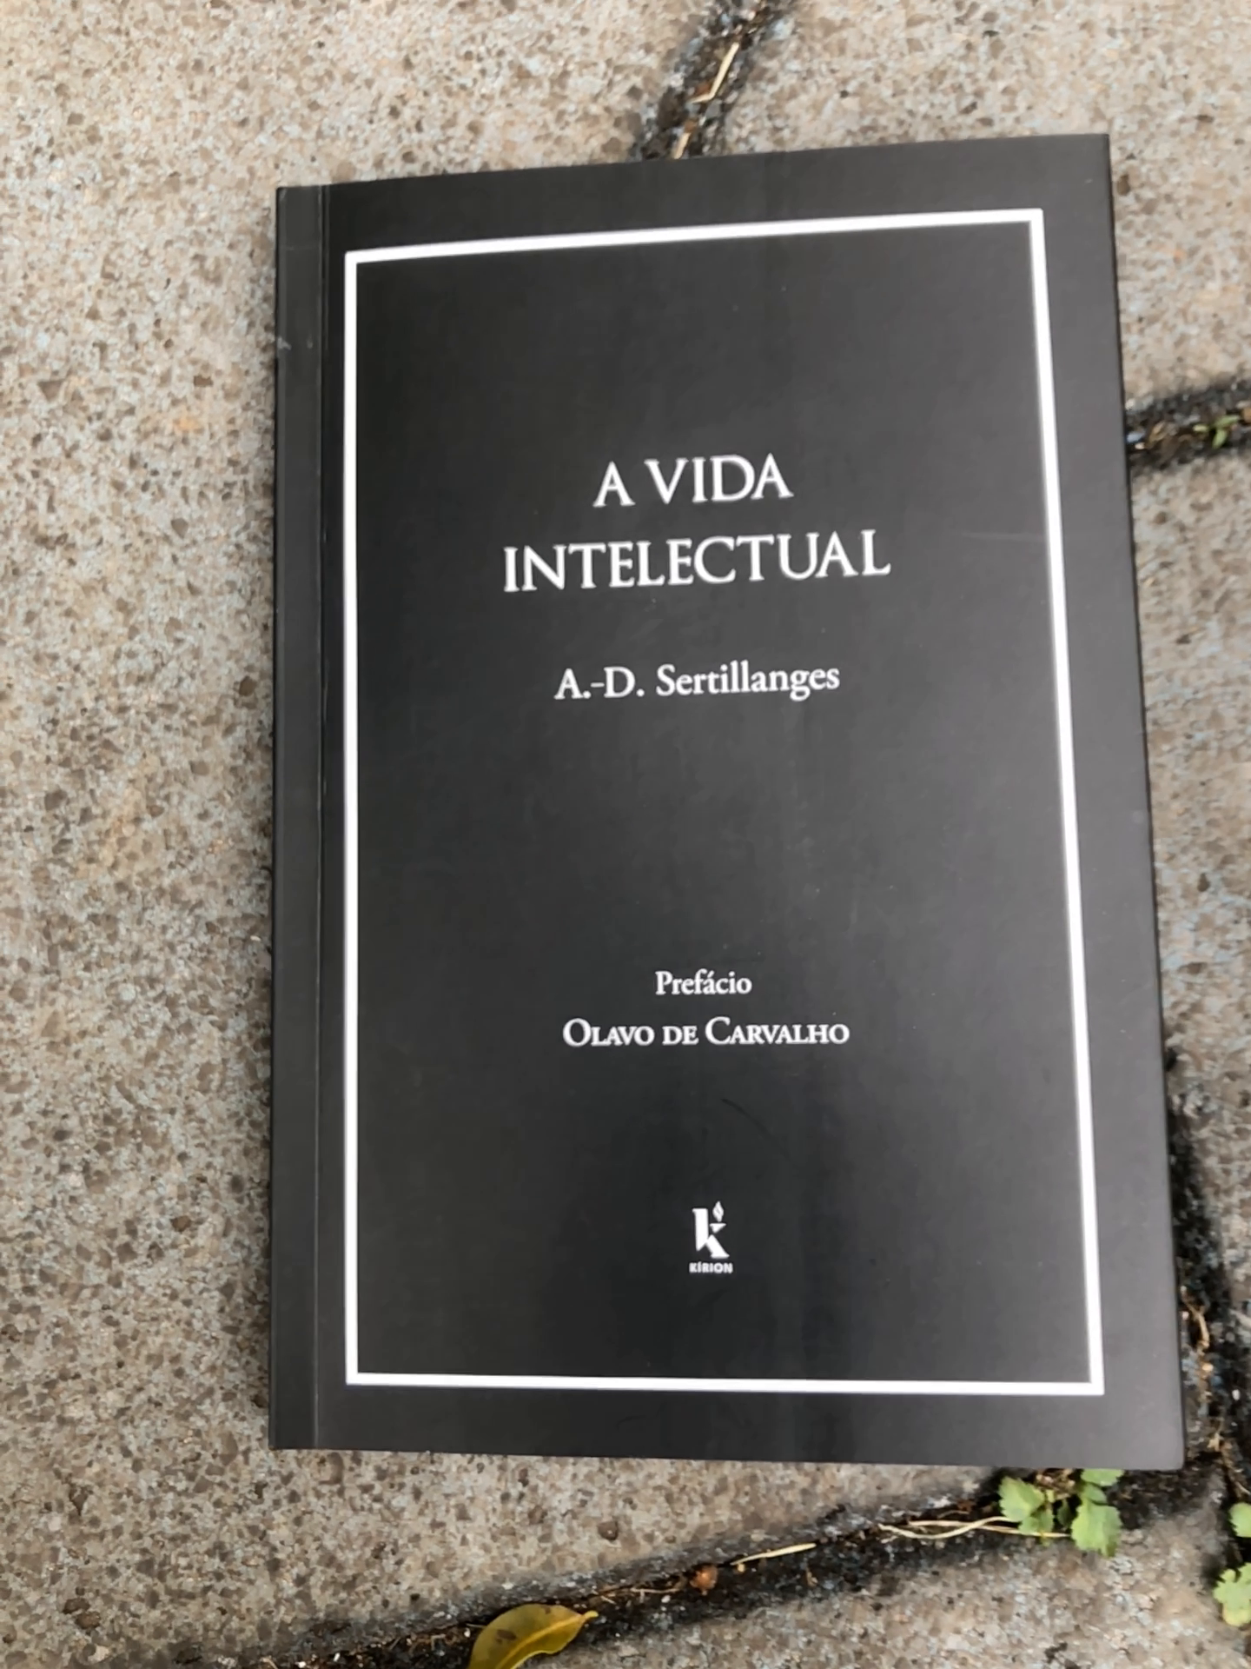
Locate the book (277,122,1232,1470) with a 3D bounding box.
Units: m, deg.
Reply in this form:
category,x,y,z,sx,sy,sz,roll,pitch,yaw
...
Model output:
category,x,y,z,sx,sy,sz,roll,pitch,yaw
book,0.016,-0.007,0.219,0.136,0.020,0.196,-1,85,5
